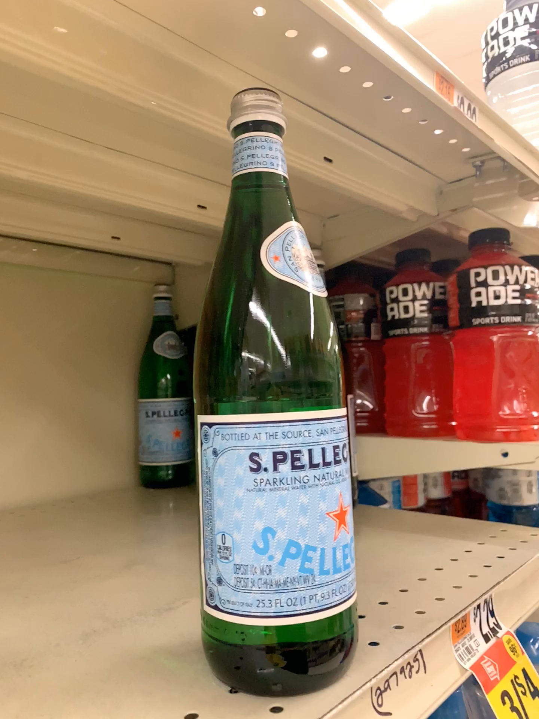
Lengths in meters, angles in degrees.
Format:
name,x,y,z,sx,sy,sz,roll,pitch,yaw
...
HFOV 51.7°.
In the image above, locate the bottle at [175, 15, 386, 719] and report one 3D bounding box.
name,x,y,z,sx,sy,sz,roll,pitch,yaw
bottle,0.005,0.004,0.283,0.078,0.302,0.065,1,-3,-41
